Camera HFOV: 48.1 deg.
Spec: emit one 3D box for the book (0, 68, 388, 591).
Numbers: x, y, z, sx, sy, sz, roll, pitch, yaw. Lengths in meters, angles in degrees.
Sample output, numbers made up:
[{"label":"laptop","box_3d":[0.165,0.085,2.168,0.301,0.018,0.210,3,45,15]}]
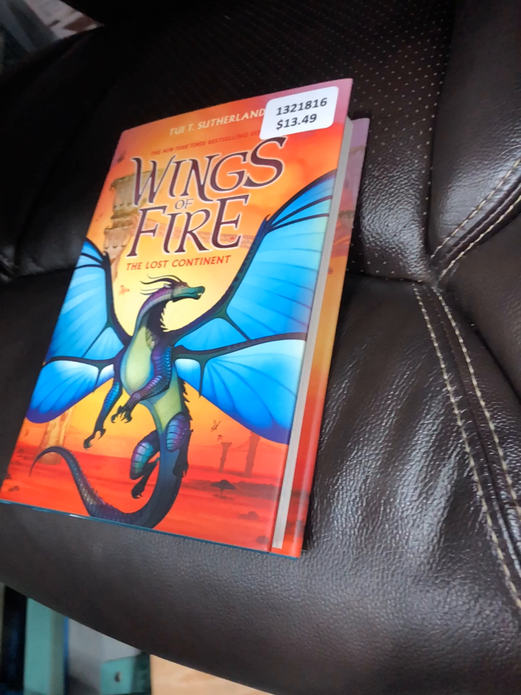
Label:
[{"label":"book","box_3d":[-0.030,-0.019,0.272,0.148,0.030,0.218,0,67,30]}]
